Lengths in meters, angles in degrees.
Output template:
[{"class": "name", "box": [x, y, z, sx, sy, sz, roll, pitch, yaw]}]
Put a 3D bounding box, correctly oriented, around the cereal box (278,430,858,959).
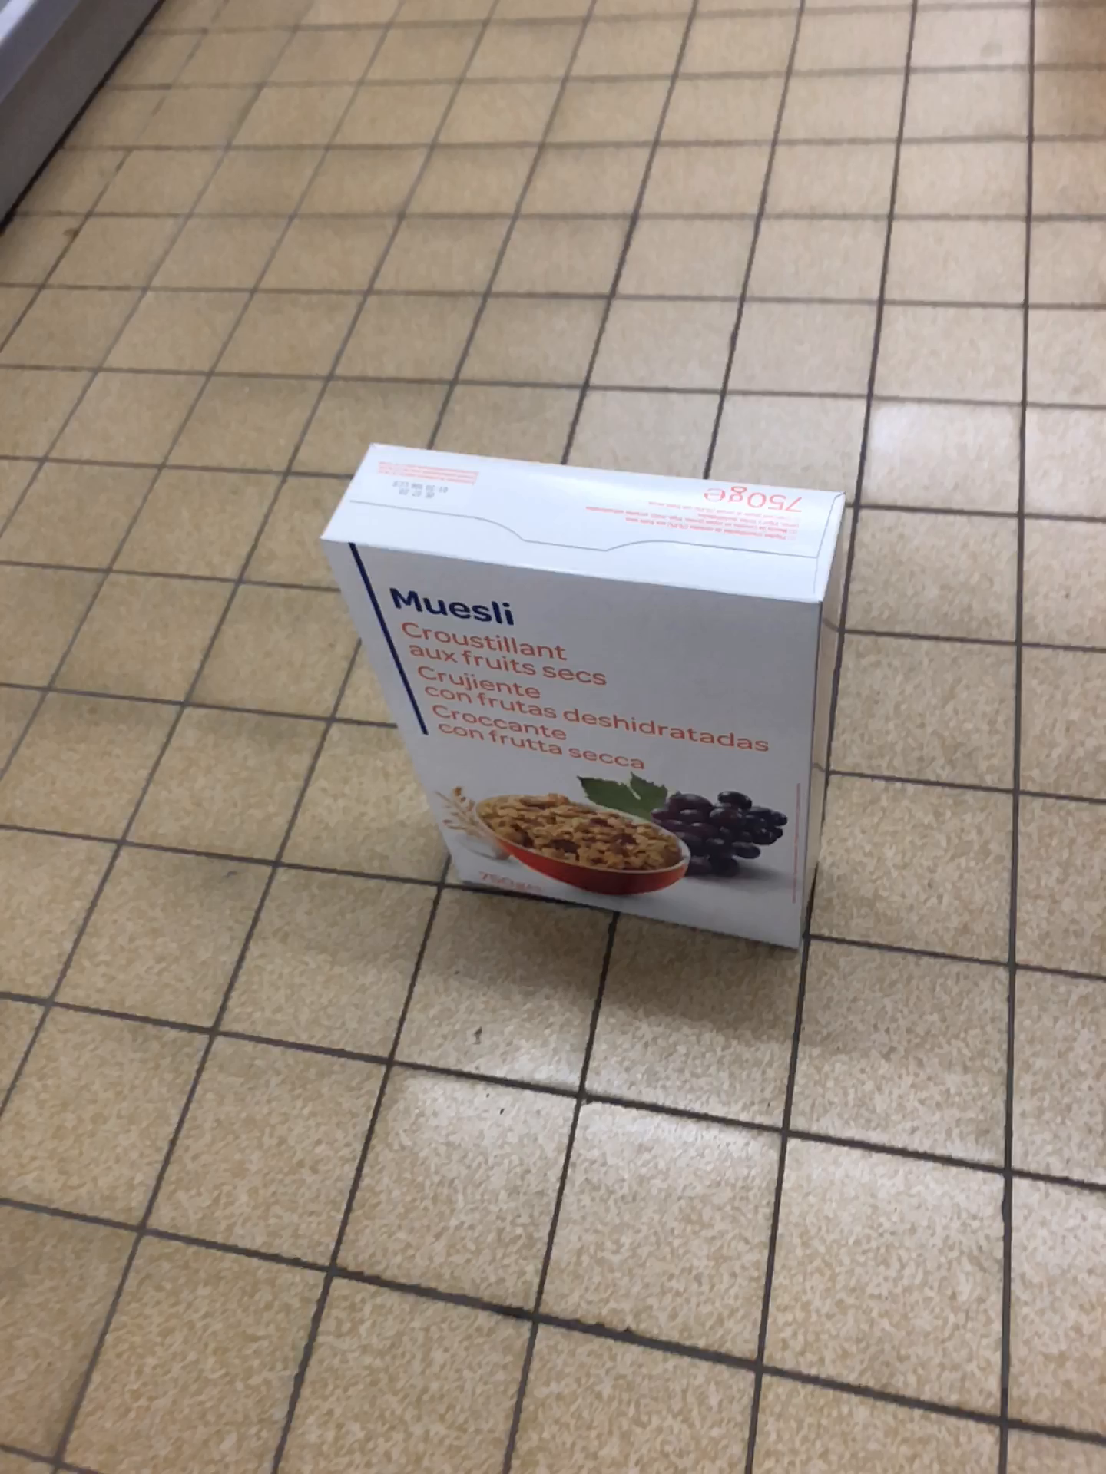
[{"class": "cereal box", "box": [0.022, -0.005, 0.544, 0.200, 0.269, 0.060, 9, 57, 16]}]
